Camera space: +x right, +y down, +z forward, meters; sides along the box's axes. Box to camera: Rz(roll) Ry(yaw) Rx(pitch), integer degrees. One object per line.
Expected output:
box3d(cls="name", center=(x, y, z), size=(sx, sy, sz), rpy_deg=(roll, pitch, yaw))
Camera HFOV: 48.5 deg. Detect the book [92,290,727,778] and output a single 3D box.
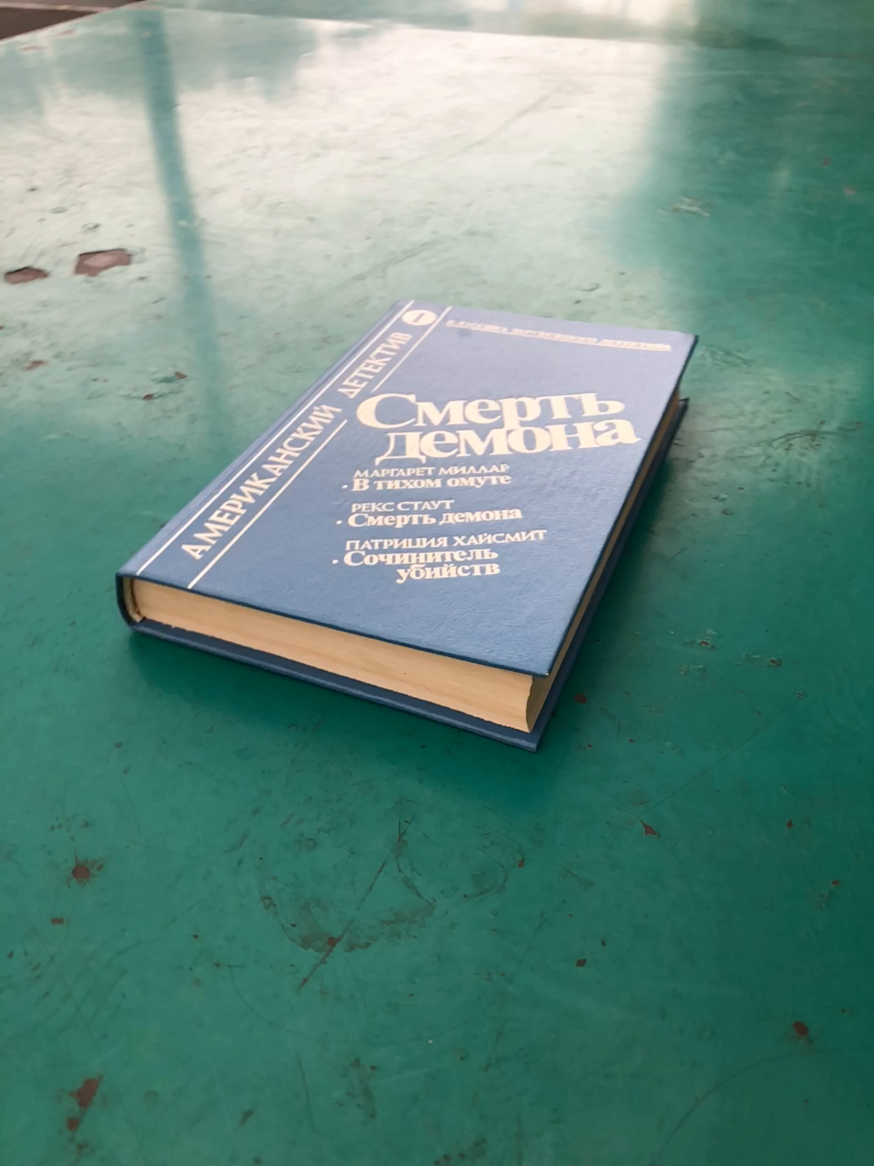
box3d(cls="book", center=(0.009, -0.040, 0.340), size=(0.142, 0.034, 0.213), rpy_deg=(13, 41, 19))
